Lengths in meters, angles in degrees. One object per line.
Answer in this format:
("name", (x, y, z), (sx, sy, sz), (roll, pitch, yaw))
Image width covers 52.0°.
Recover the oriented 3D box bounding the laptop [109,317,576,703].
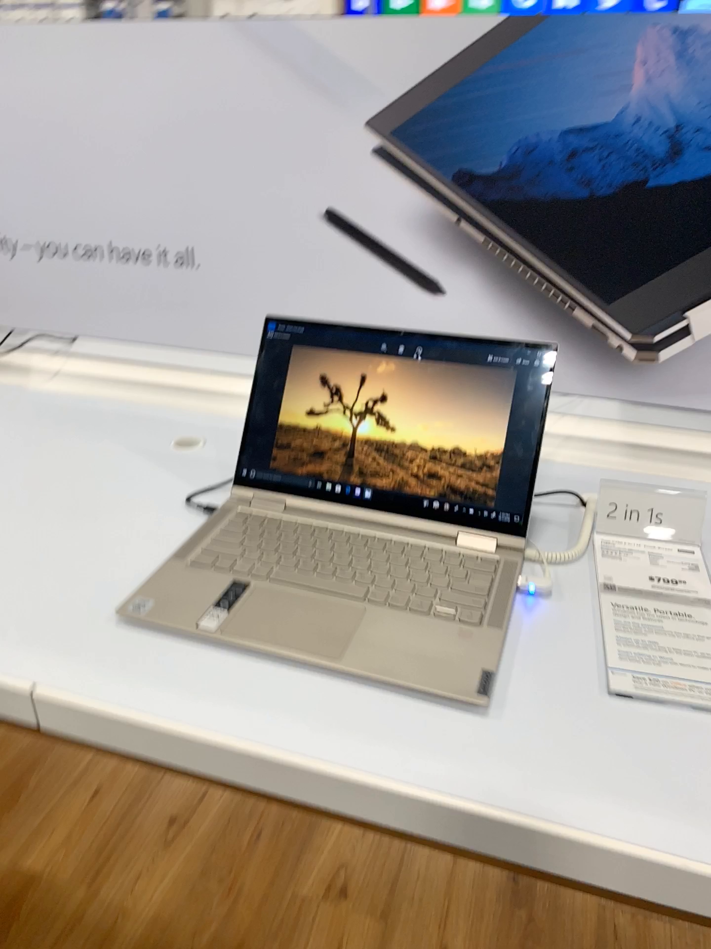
("laptop", (0.016, -0.005, 0.678), (0.309, 0.170, 0.330), (10, 29, 17))
